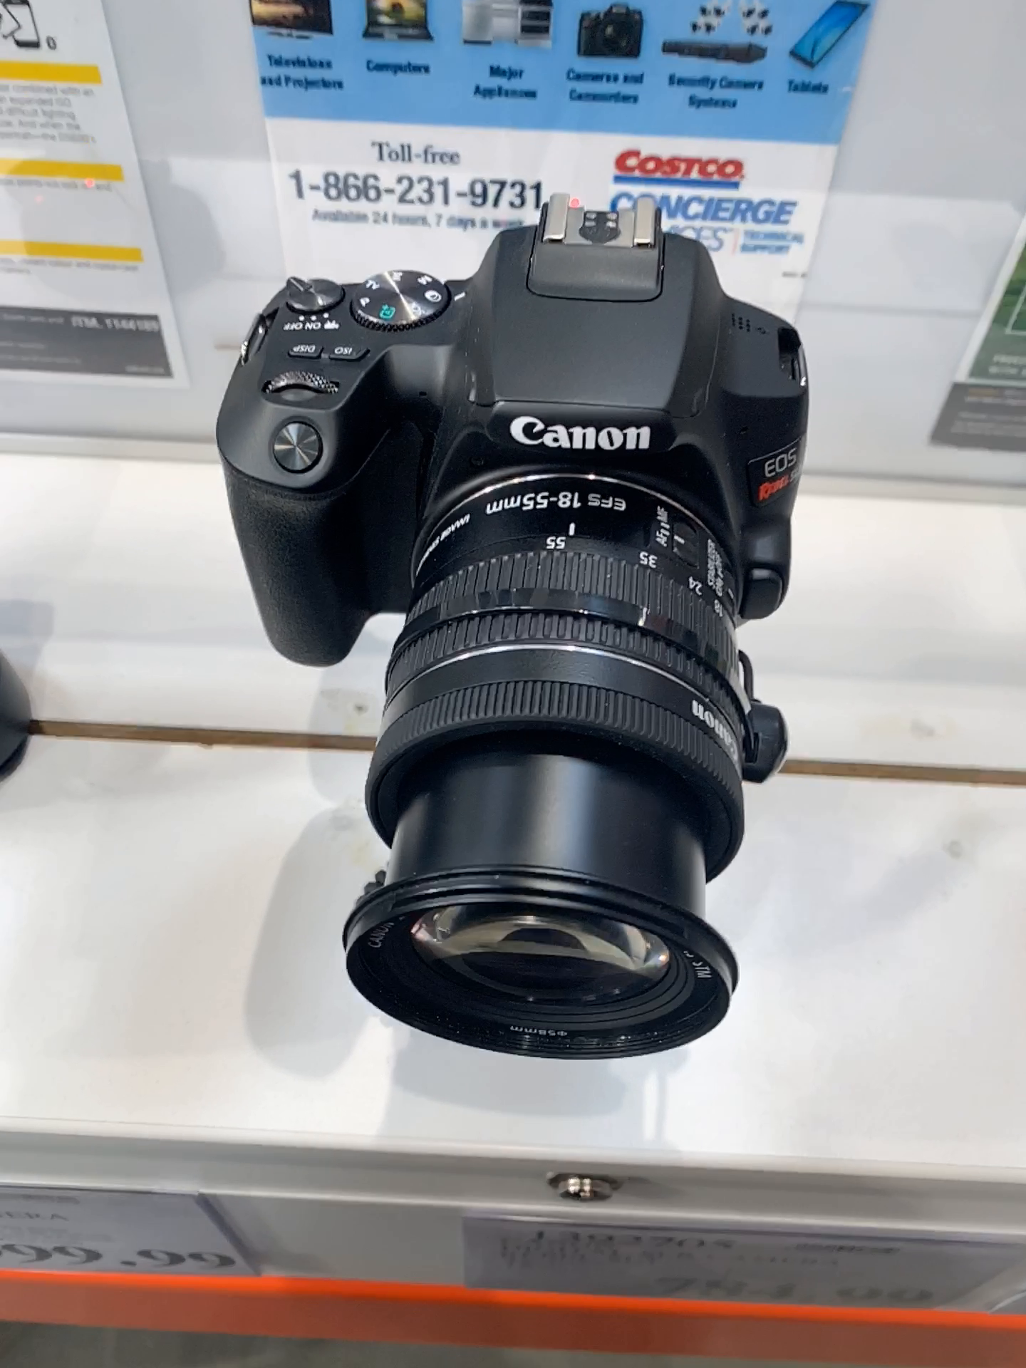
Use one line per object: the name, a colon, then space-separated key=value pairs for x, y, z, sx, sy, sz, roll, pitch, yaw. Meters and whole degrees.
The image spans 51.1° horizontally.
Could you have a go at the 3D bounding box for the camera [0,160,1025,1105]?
camera: x=0.003 y=-0.016 z=0.184 sx=0.119 sy=0.079 sz=0.141 roll=2 pitch=50 yaw=0
